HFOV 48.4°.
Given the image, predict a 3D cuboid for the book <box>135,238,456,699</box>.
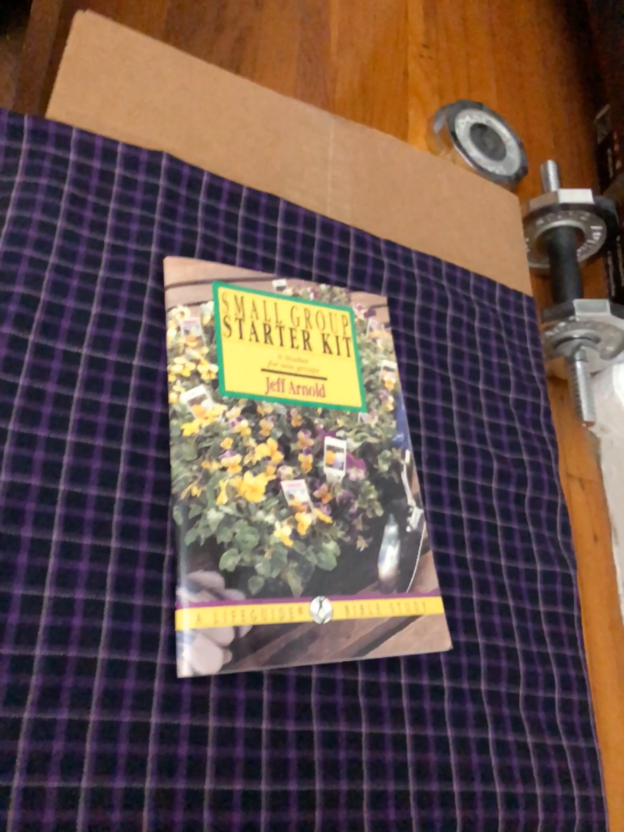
[{"bbox_3d":[-0.011,0.017,0.352,0.150,0.010,0.220,5,65,-26],"label":"book"}]
